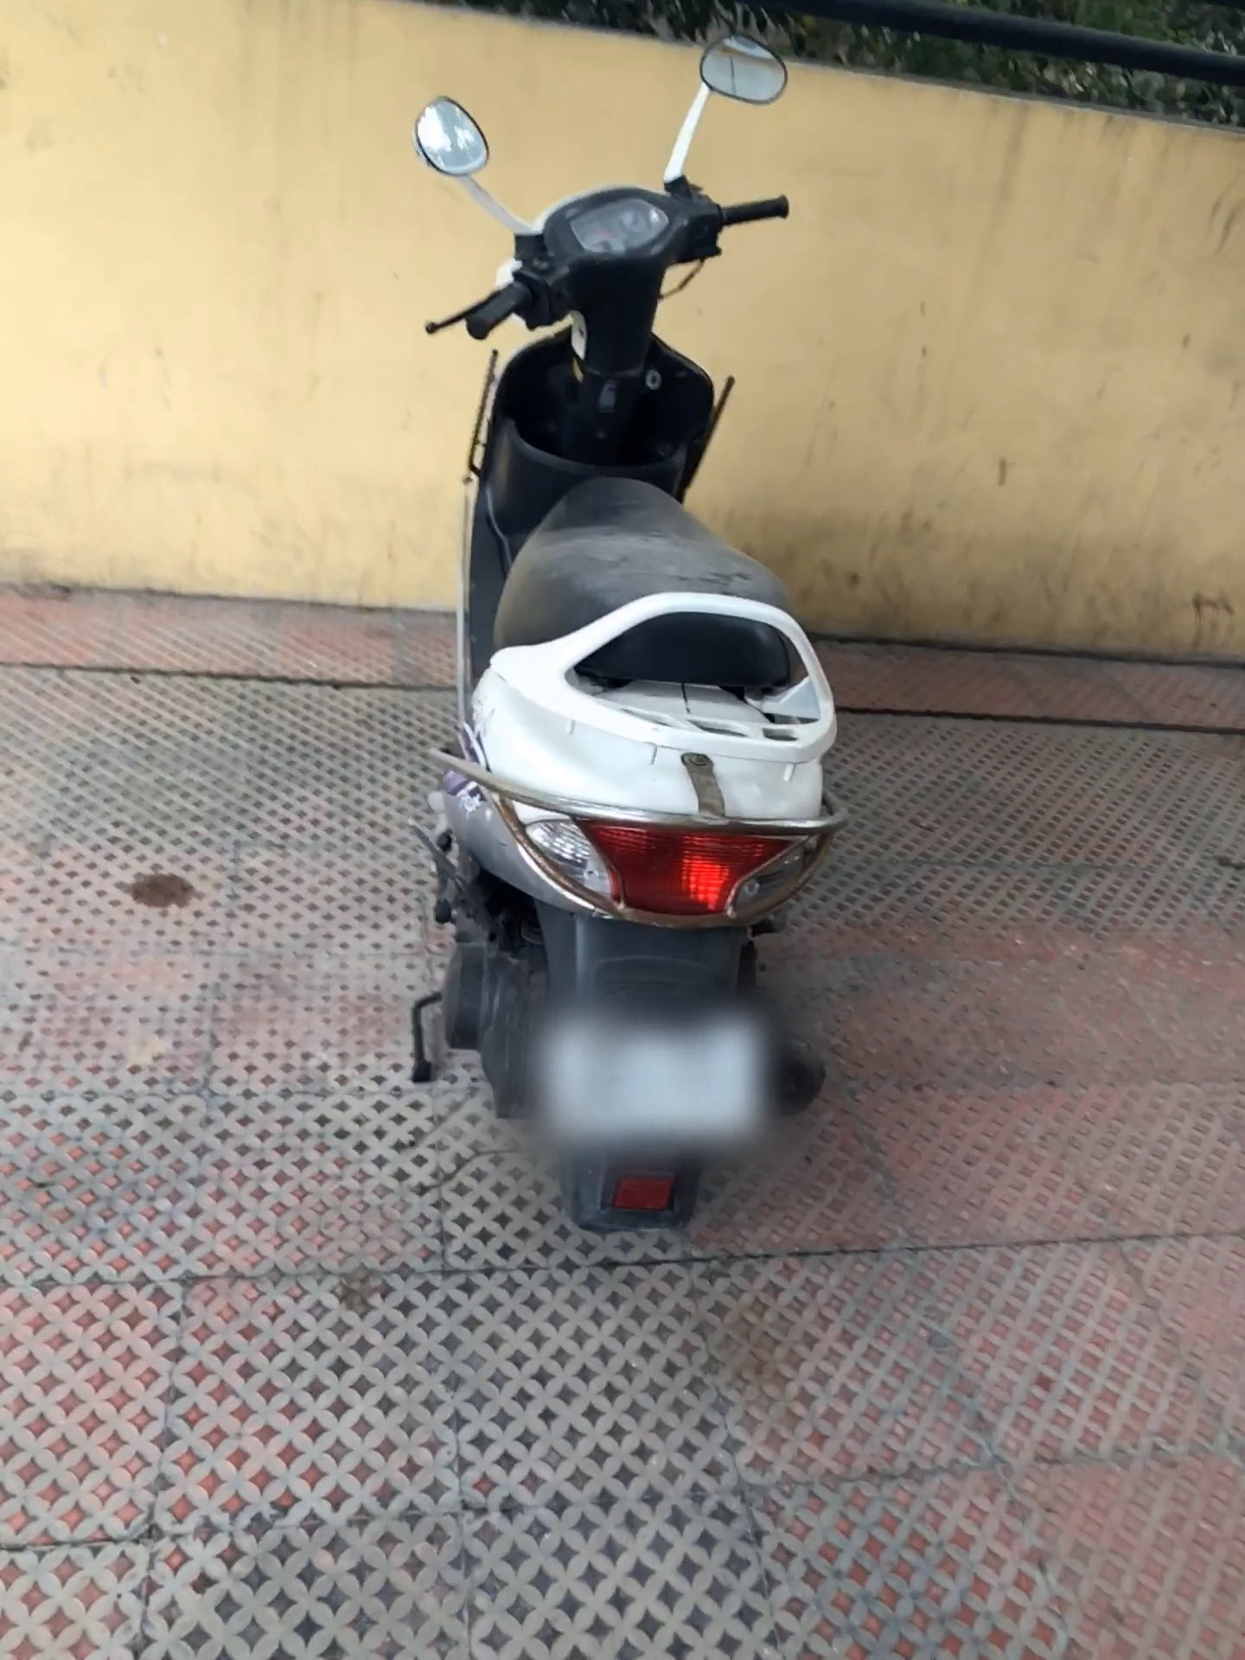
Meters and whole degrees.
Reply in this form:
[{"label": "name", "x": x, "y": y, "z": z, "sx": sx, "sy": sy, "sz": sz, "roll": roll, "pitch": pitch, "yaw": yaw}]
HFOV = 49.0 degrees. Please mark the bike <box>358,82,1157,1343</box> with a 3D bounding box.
[{"label": "bike", "x": -0.036, "y": -0.283, "z": 1.932, "sx": 0.599, "sy": 1.081, "sz": 1.480, "roll": 2, "pitch": 35, "yaw": -11}]
